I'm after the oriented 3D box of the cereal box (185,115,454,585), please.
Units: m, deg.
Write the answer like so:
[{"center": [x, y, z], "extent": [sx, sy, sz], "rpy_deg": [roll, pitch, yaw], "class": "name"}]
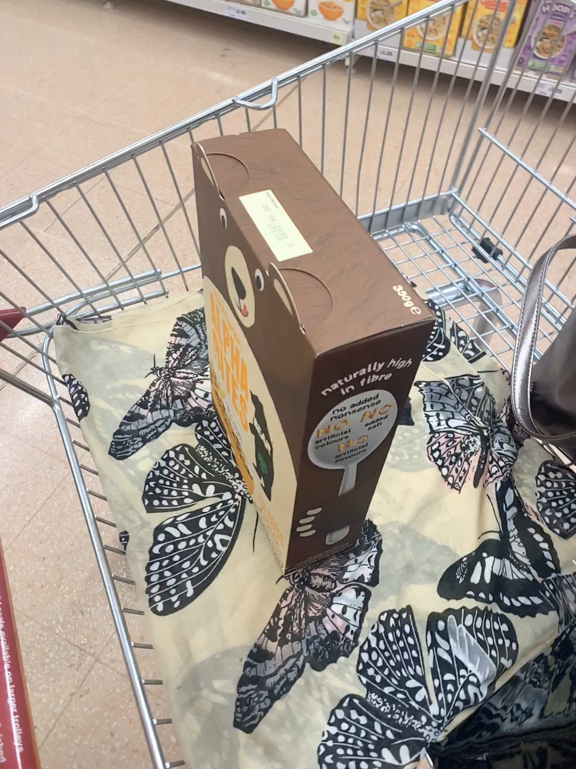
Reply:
[{"center": [-0.002, -0.005, 0.445], "extent": [0.070, 0.298, 0.201], "rpy_deg": [-18, 56, -17], "class": "cereal box"}]
